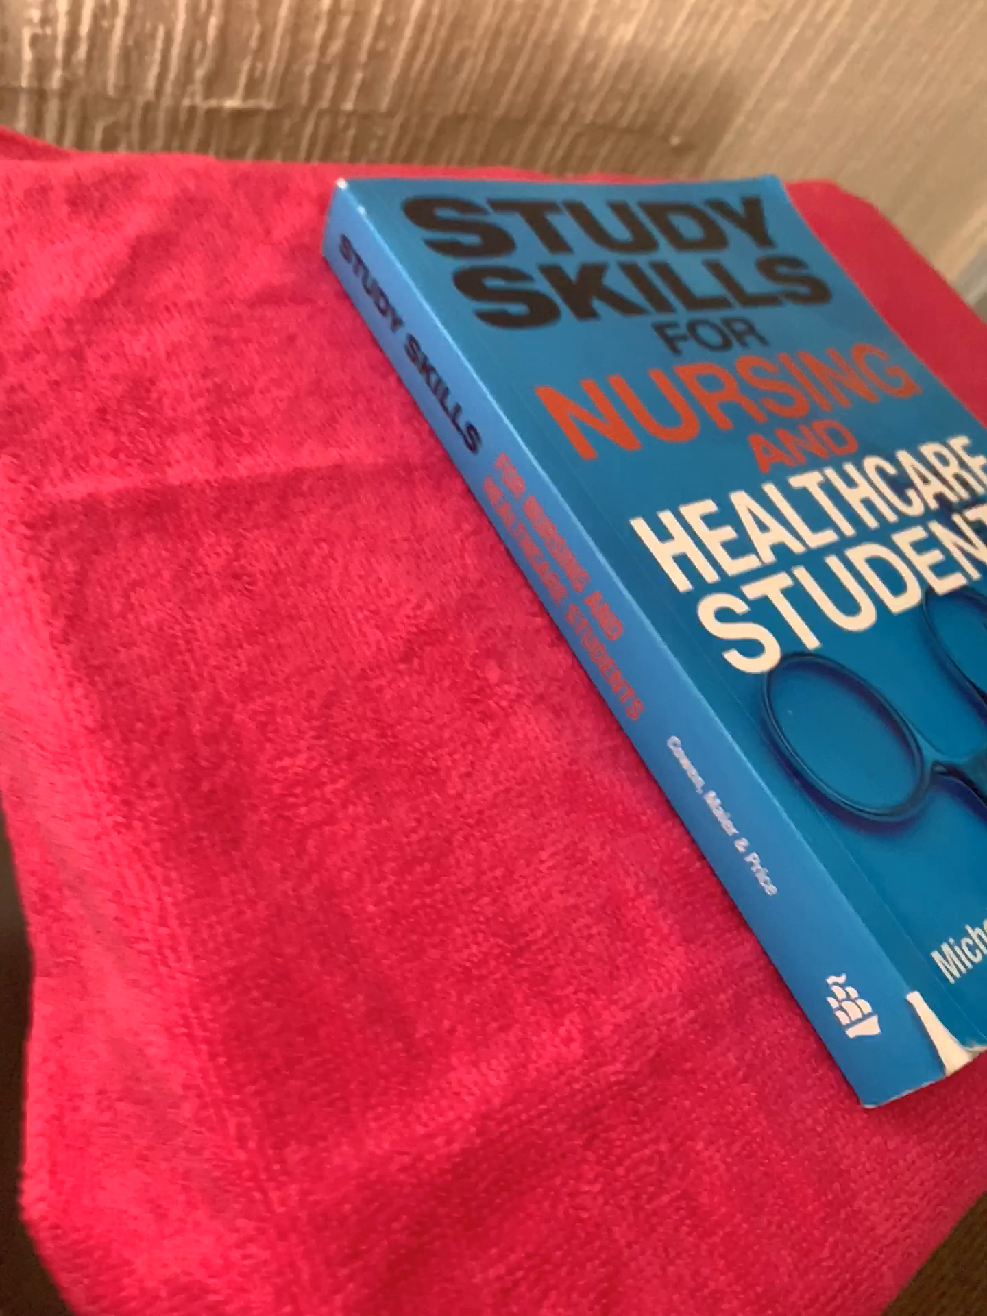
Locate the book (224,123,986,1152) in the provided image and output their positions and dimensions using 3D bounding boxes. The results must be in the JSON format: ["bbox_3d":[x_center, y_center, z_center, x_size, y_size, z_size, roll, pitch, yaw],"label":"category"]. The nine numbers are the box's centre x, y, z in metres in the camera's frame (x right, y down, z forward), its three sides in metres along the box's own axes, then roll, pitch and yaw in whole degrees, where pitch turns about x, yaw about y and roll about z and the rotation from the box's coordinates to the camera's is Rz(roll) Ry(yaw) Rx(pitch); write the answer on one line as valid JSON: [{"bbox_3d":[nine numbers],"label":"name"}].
[{"bbox_3d":[0.076,-0.046,0.290,0.201,0.040,0.271,-16,62,-36],"label":"book"}]
